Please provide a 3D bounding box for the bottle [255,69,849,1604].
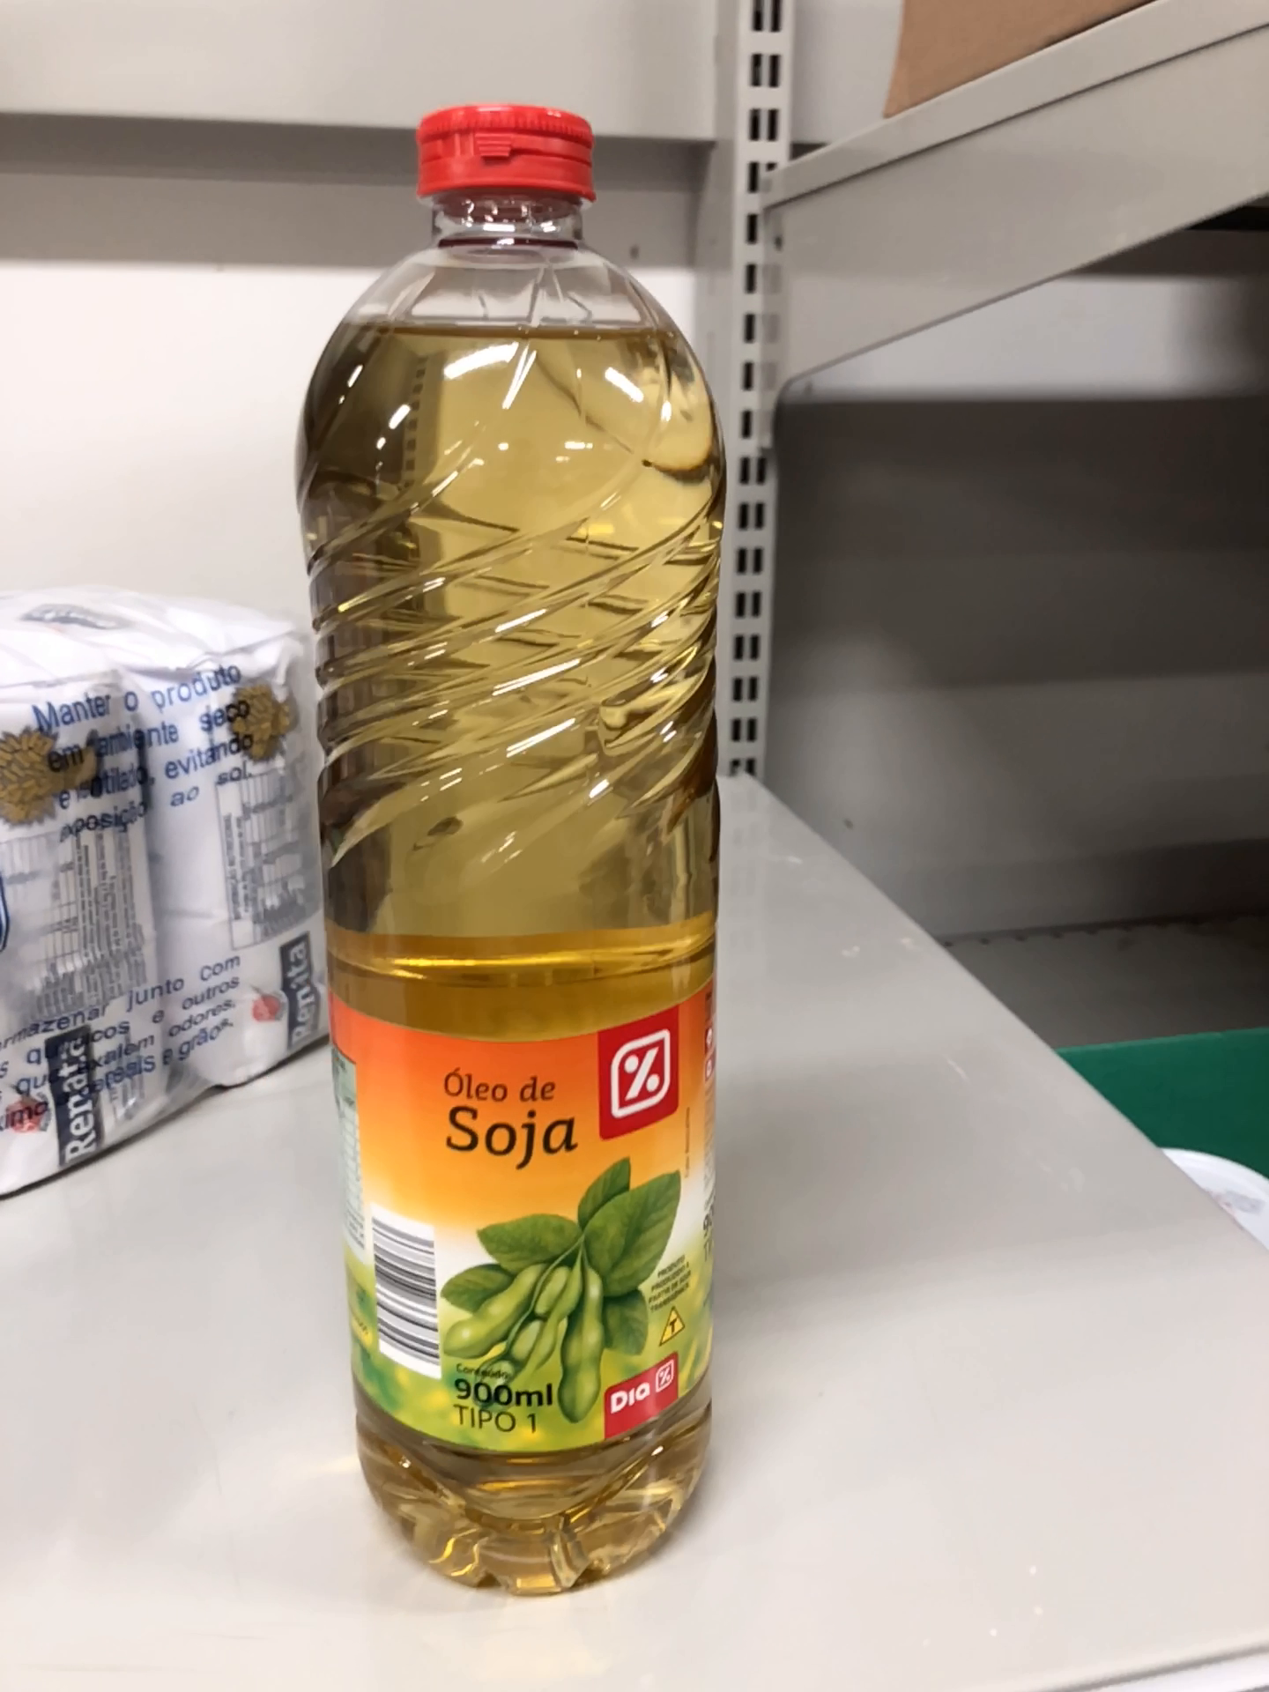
[{"bbox_3d":[-0.017,0.009,0.263,0.080,0.259,0.070,0,18,-4],"label":"bottle"}]
